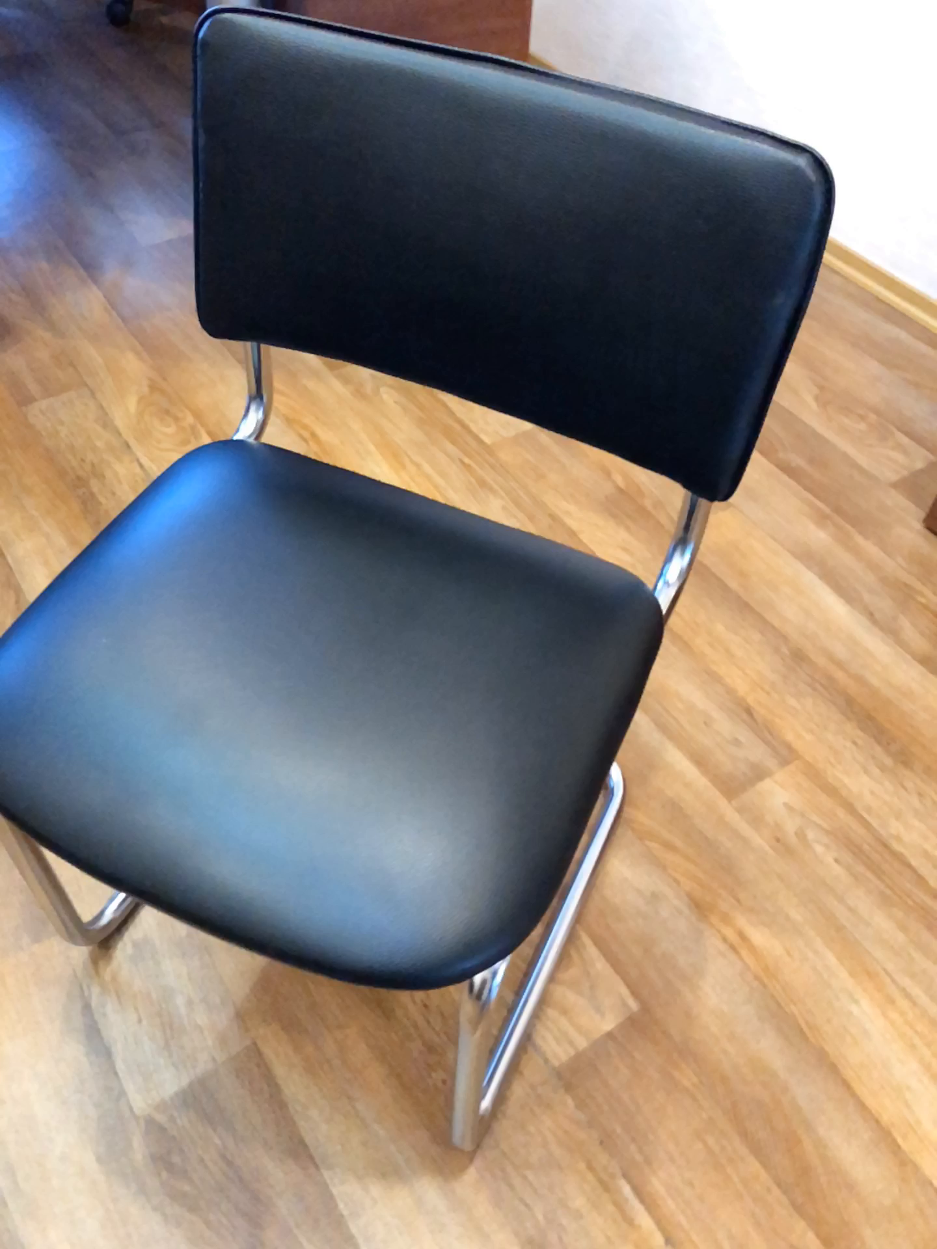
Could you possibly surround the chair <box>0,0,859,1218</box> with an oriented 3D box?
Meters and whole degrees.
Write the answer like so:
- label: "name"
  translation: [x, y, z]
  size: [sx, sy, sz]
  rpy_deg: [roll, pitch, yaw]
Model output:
- label: "chair"
  translation: [-0.099, 0.017, 0.847]
  size: [0.492, 0.745, 0.527]
  rpy_deg: [22, 51, 15]
